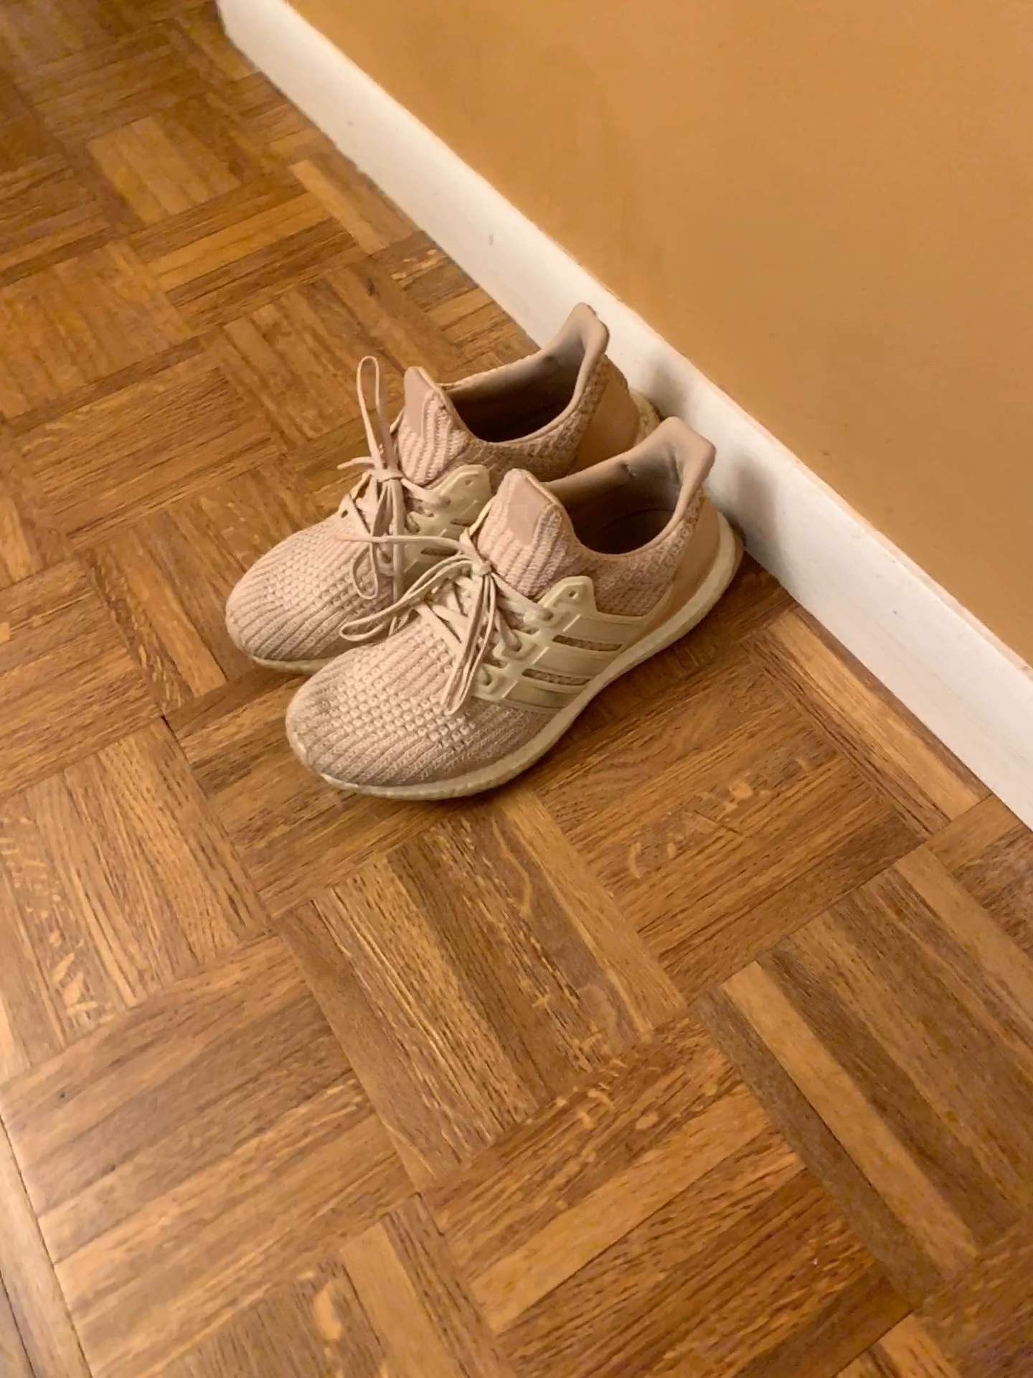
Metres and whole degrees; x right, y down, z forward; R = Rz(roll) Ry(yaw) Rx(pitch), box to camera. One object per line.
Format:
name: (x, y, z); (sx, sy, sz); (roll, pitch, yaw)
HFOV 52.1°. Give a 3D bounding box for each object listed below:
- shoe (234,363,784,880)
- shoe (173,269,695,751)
shoe: (0.004, -0.031, 0.575); (0.260, 0.120, 0.110); (-36, 61, -2)
shoe: (-0.039, -0.104, 0.642); (0.280, 0.130, 0.100); (-35, 61, -4)
